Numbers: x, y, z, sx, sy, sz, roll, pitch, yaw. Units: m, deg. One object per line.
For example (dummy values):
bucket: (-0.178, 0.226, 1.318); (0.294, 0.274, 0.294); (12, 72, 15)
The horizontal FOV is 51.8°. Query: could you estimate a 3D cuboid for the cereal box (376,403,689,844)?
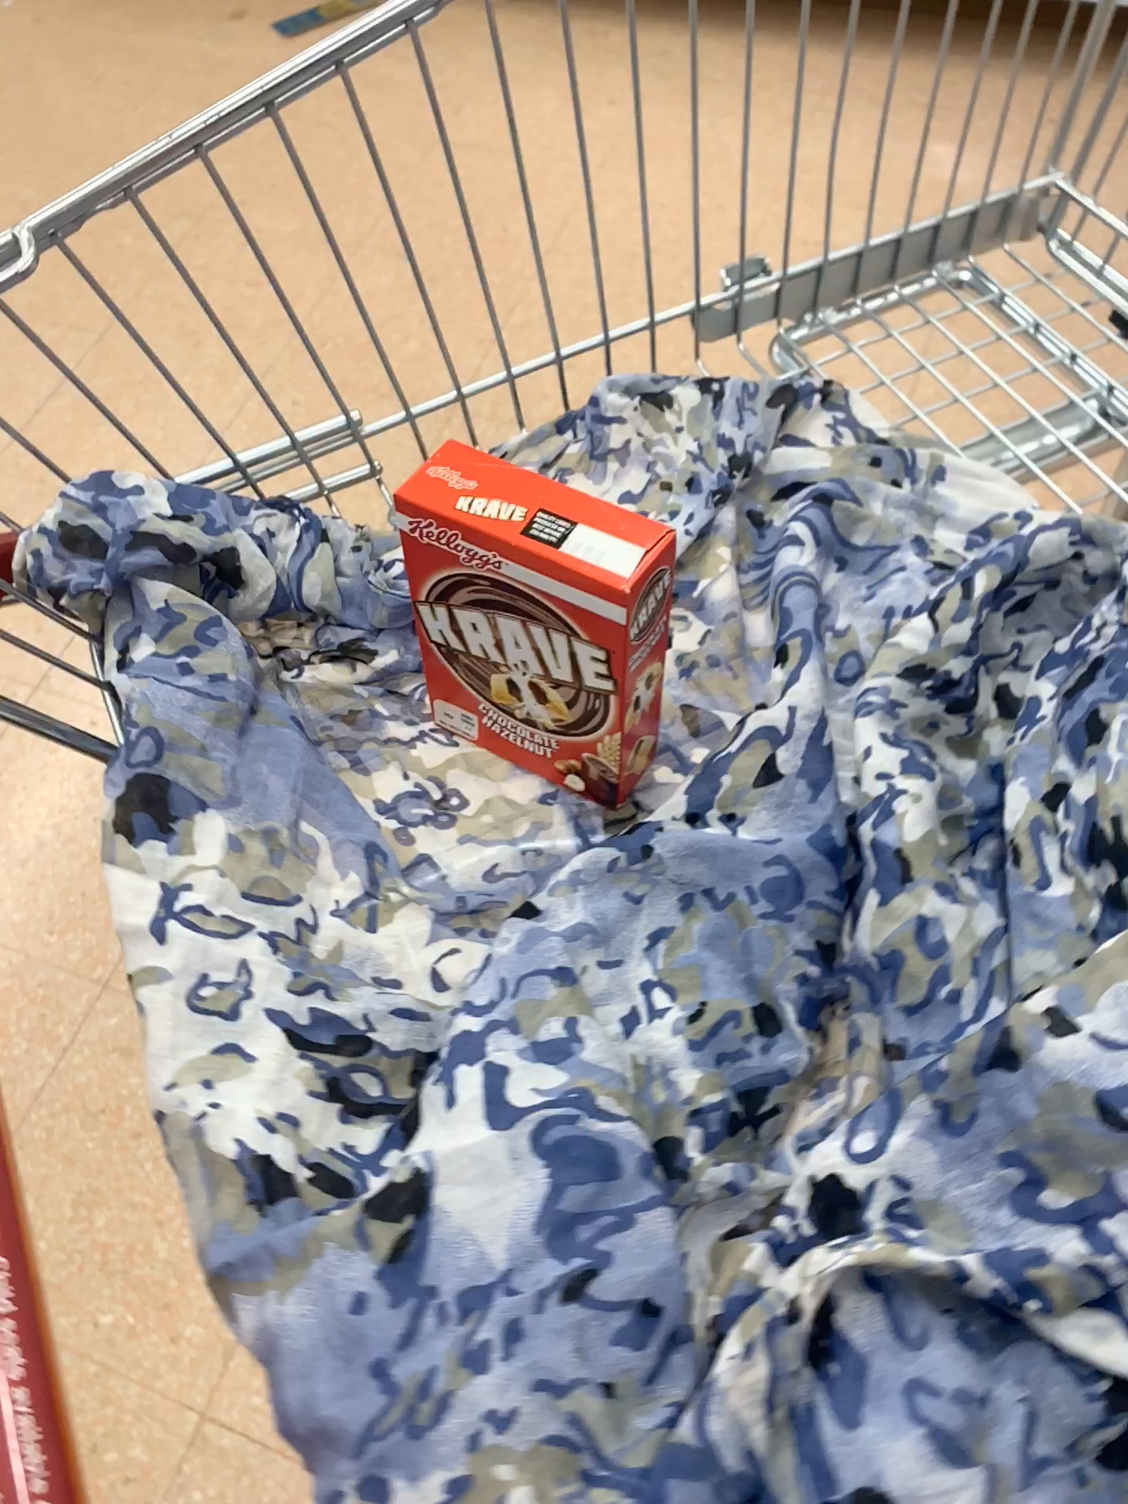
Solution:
cereal box: (-0.010, -0.040, 0.423); (0.090, 0.149, 0.040); (26, 58, 18)
